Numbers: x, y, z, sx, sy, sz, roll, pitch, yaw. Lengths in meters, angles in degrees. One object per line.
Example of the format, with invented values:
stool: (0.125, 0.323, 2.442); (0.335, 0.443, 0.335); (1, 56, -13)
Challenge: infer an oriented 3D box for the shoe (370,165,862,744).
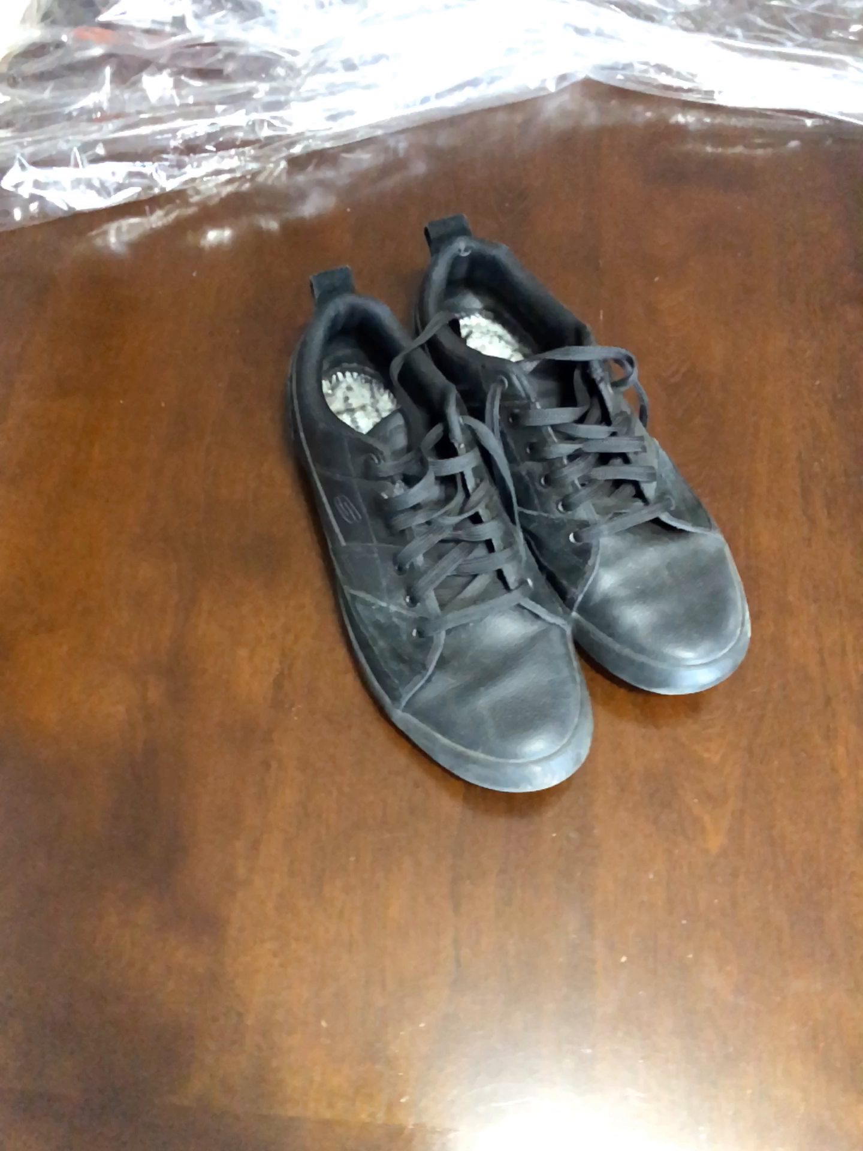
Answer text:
shoe: (0.084, -0.076, 0.537); (0.110, 0.110, 0.300); (-25, 65, -14)

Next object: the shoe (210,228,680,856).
shoe: (-0.008, -0.027, 0.505); (0.110, 0.110, 0.300); (-21, 64, -12)
